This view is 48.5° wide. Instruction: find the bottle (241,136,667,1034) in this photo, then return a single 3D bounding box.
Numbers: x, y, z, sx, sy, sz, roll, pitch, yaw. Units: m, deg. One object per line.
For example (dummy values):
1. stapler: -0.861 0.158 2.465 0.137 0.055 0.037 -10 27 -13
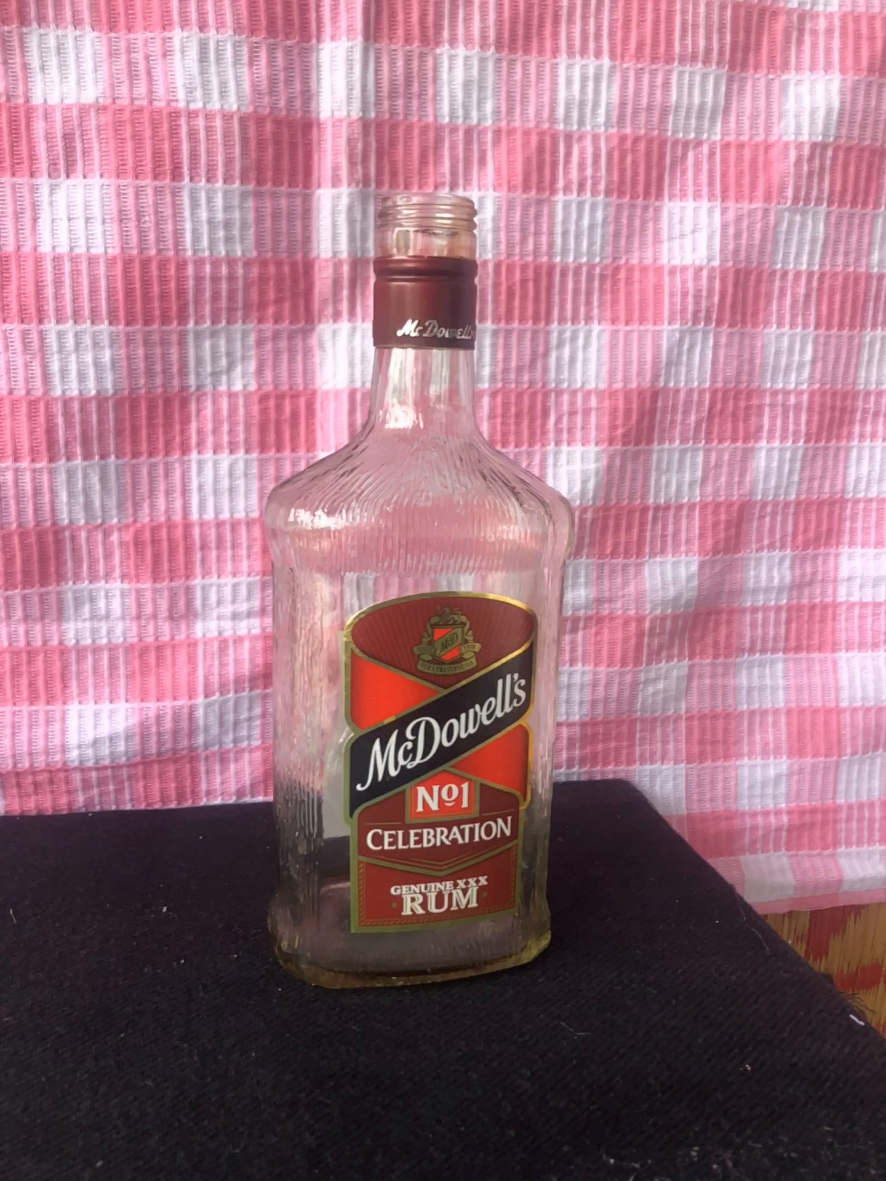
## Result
1. bottle: -0.006 0.003 0.297 0.100 0.239 0.060 -1 15 -18
